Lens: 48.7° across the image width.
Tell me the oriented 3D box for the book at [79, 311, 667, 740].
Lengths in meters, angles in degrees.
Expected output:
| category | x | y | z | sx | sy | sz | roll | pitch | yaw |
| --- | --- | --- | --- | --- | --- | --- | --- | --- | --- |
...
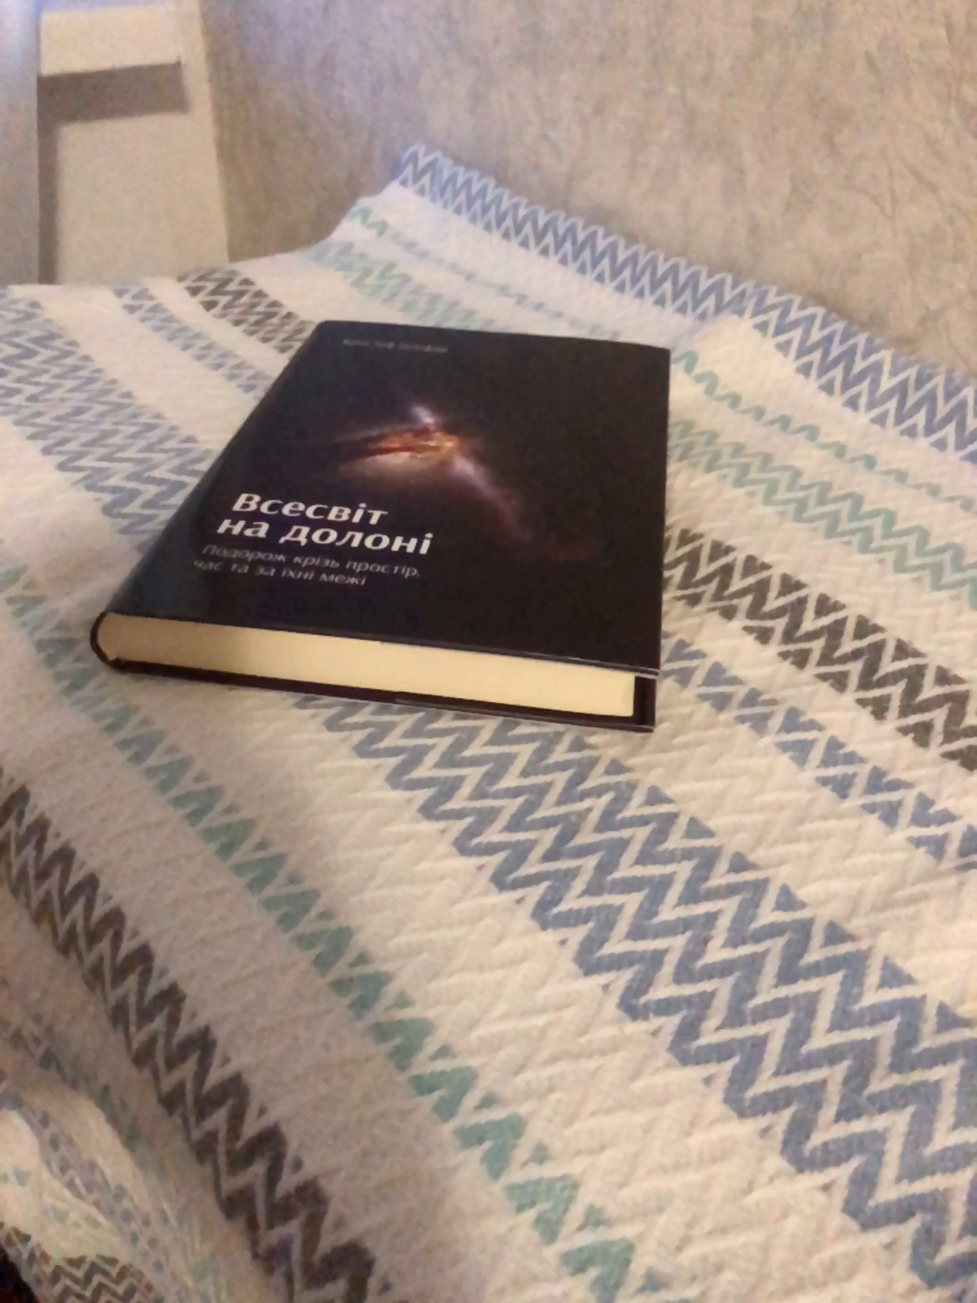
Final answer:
| category | x | y | z | sx | sy | sz | roll | pitch | yaw |
| --- | --- | --- | --- | --- | --- | --- | --- | --- | --- |
| book | -0.019 | -0.063 | 0.392 | 0.161 | 0.030 | 0.226 | 6 | 38 | 6 |
